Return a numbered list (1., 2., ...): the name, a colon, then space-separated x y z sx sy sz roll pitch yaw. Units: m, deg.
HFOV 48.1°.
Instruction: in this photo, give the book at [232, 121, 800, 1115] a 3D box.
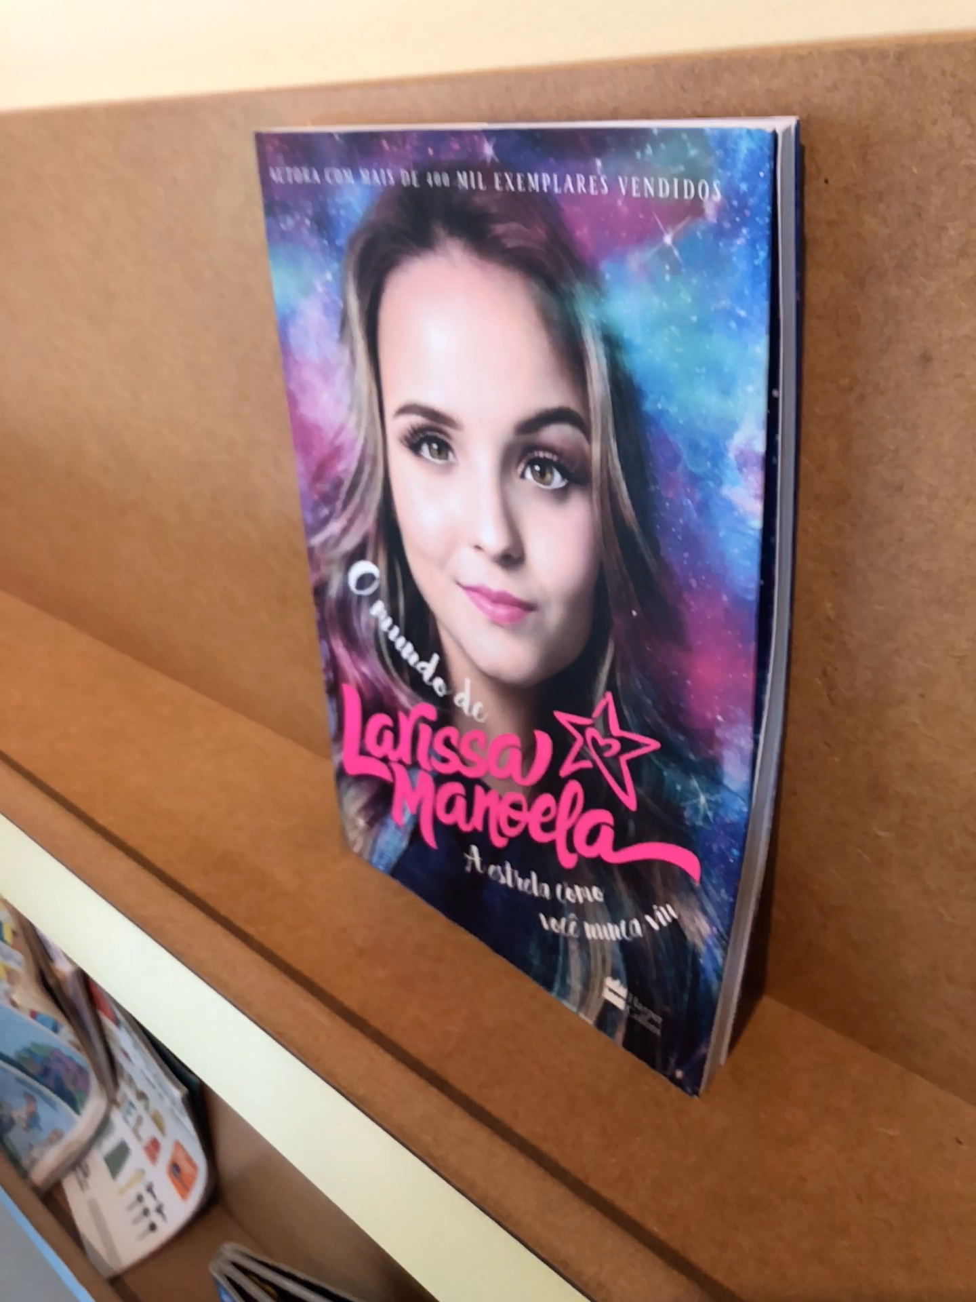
1. book: 0.001 -0.010 0.278 0.020 0.221 0.151 -25 34 -36
